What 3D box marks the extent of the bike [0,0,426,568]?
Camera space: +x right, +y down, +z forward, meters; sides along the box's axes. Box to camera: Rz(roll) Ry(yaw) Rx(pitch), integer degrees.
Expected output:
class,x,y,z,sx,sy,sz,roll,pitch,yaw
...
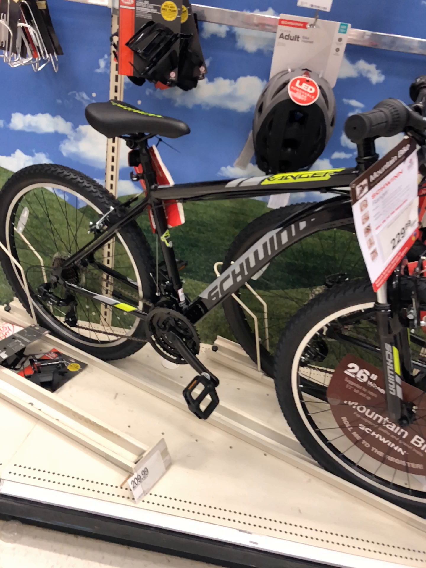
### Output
class,x,y,z,sx,sy,sz,roll,pitch,yaw
bike,-0.024,0.042,1.113,1.653,1.003,0.601,23,28,23
